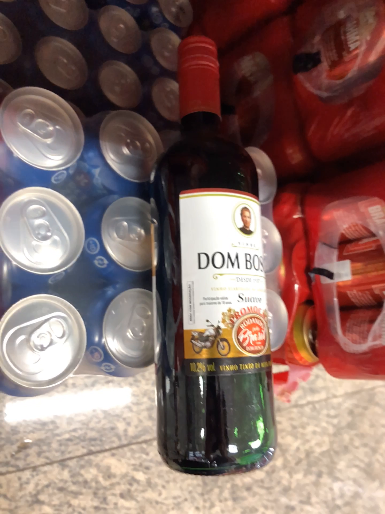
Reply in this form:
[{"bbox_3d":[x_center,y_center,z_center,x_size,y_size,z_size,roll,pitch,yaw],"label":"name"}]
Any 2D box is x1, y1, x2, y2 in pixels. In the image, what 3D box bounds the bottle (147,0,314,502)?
[{"bbox_3d":[0.021,-0.012,0.300,0.080,0.070,0.300,6,78,-38],"label":"bottle"}]
